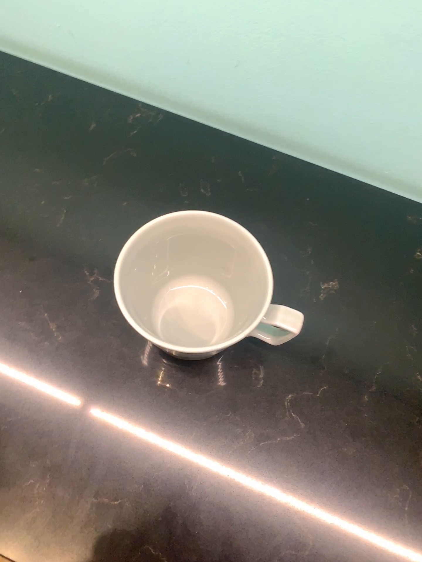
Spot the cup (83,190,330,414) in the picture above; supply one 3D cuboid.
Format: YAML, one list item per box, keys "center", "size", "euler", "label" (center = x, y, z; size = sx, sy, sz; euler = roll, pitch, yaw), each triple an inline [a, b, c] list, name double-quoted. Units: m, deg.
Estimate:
- center: [-0.001, 0.018, 0.315]
  size: [0.130, 0.080, 0.100]
  euler: [22, 68, 7]
  label: "cup"
